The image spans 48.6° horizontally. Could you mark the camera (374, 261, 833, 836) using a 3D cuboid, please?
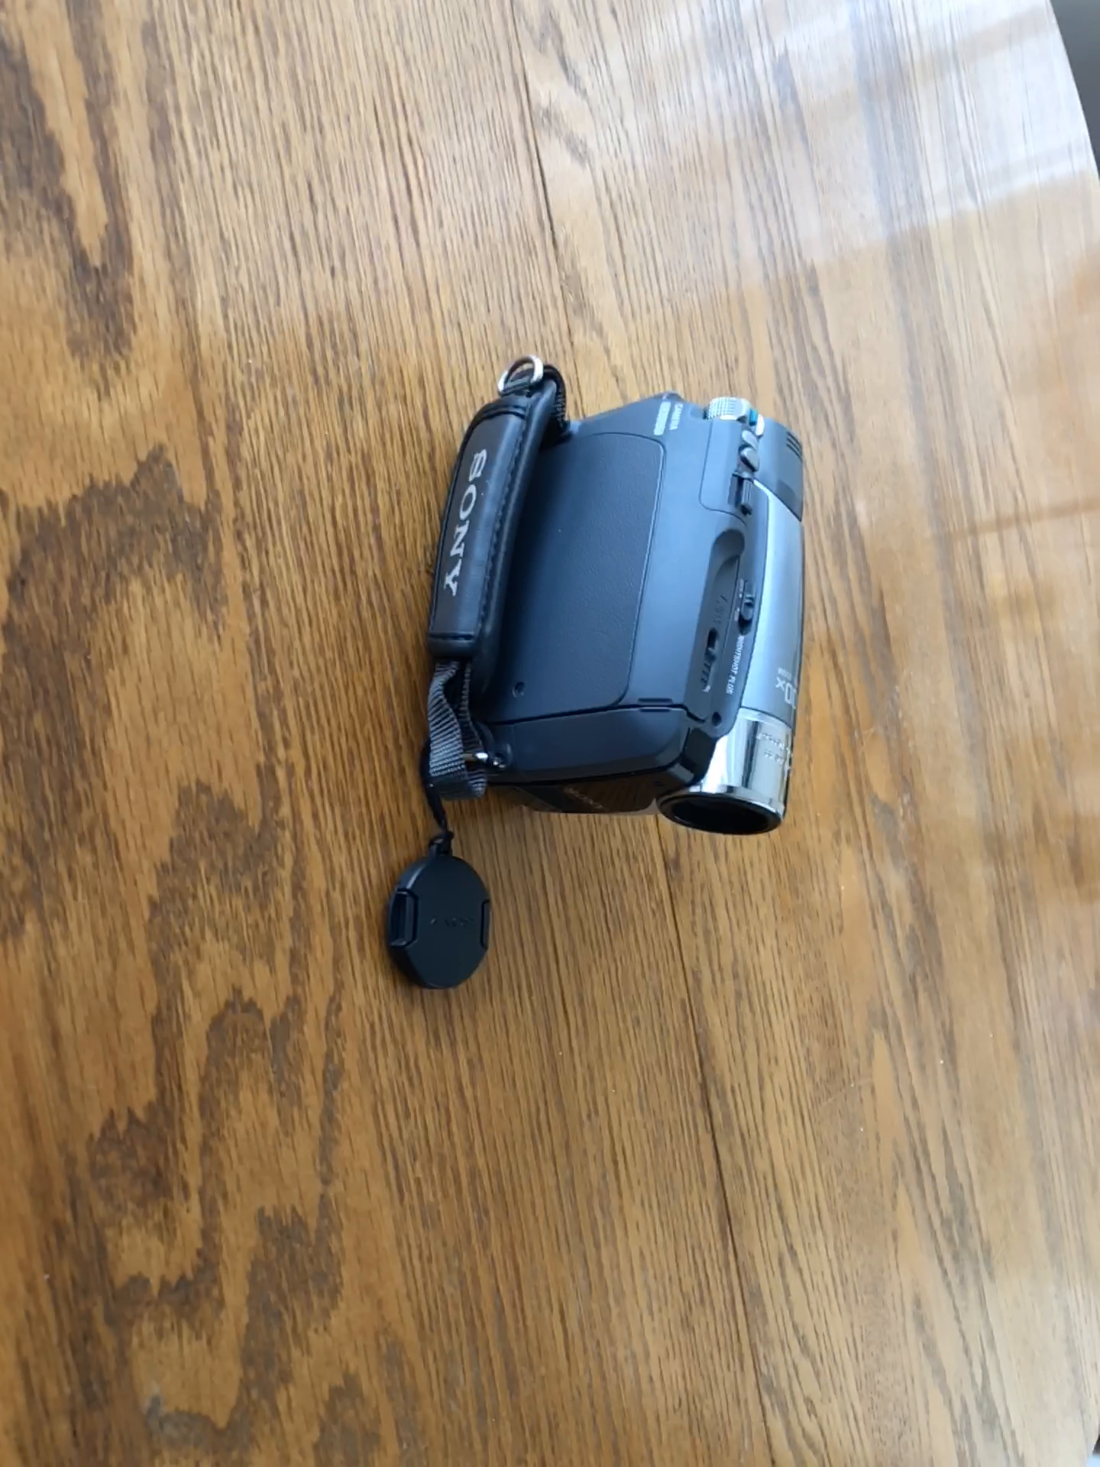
[{"bbox_3d":[0.018,-0.040,0.315,0.080,0.072,0.112,30,61,-45],"label":"camera"}]
